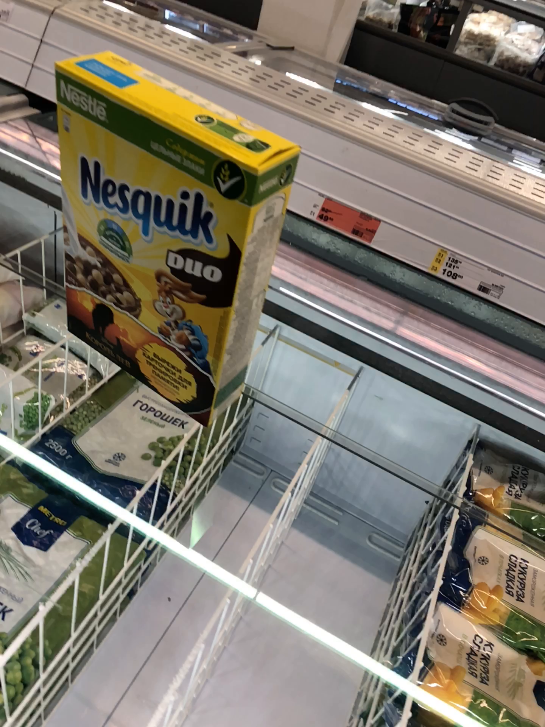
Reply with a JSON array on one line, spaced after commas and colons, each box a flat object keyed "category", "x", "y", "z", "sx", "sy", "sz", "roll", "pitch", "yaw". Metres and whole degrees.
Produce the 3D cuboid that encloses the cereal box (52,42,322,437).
[{"category": "cereal box", "x": -0.092, "y": -0.098, "z": 0.532, "sx": 0.200, "sy": 0.278, "sz": 0.070, "roll": 32, "pitch": 44, "yaw": 18}]
